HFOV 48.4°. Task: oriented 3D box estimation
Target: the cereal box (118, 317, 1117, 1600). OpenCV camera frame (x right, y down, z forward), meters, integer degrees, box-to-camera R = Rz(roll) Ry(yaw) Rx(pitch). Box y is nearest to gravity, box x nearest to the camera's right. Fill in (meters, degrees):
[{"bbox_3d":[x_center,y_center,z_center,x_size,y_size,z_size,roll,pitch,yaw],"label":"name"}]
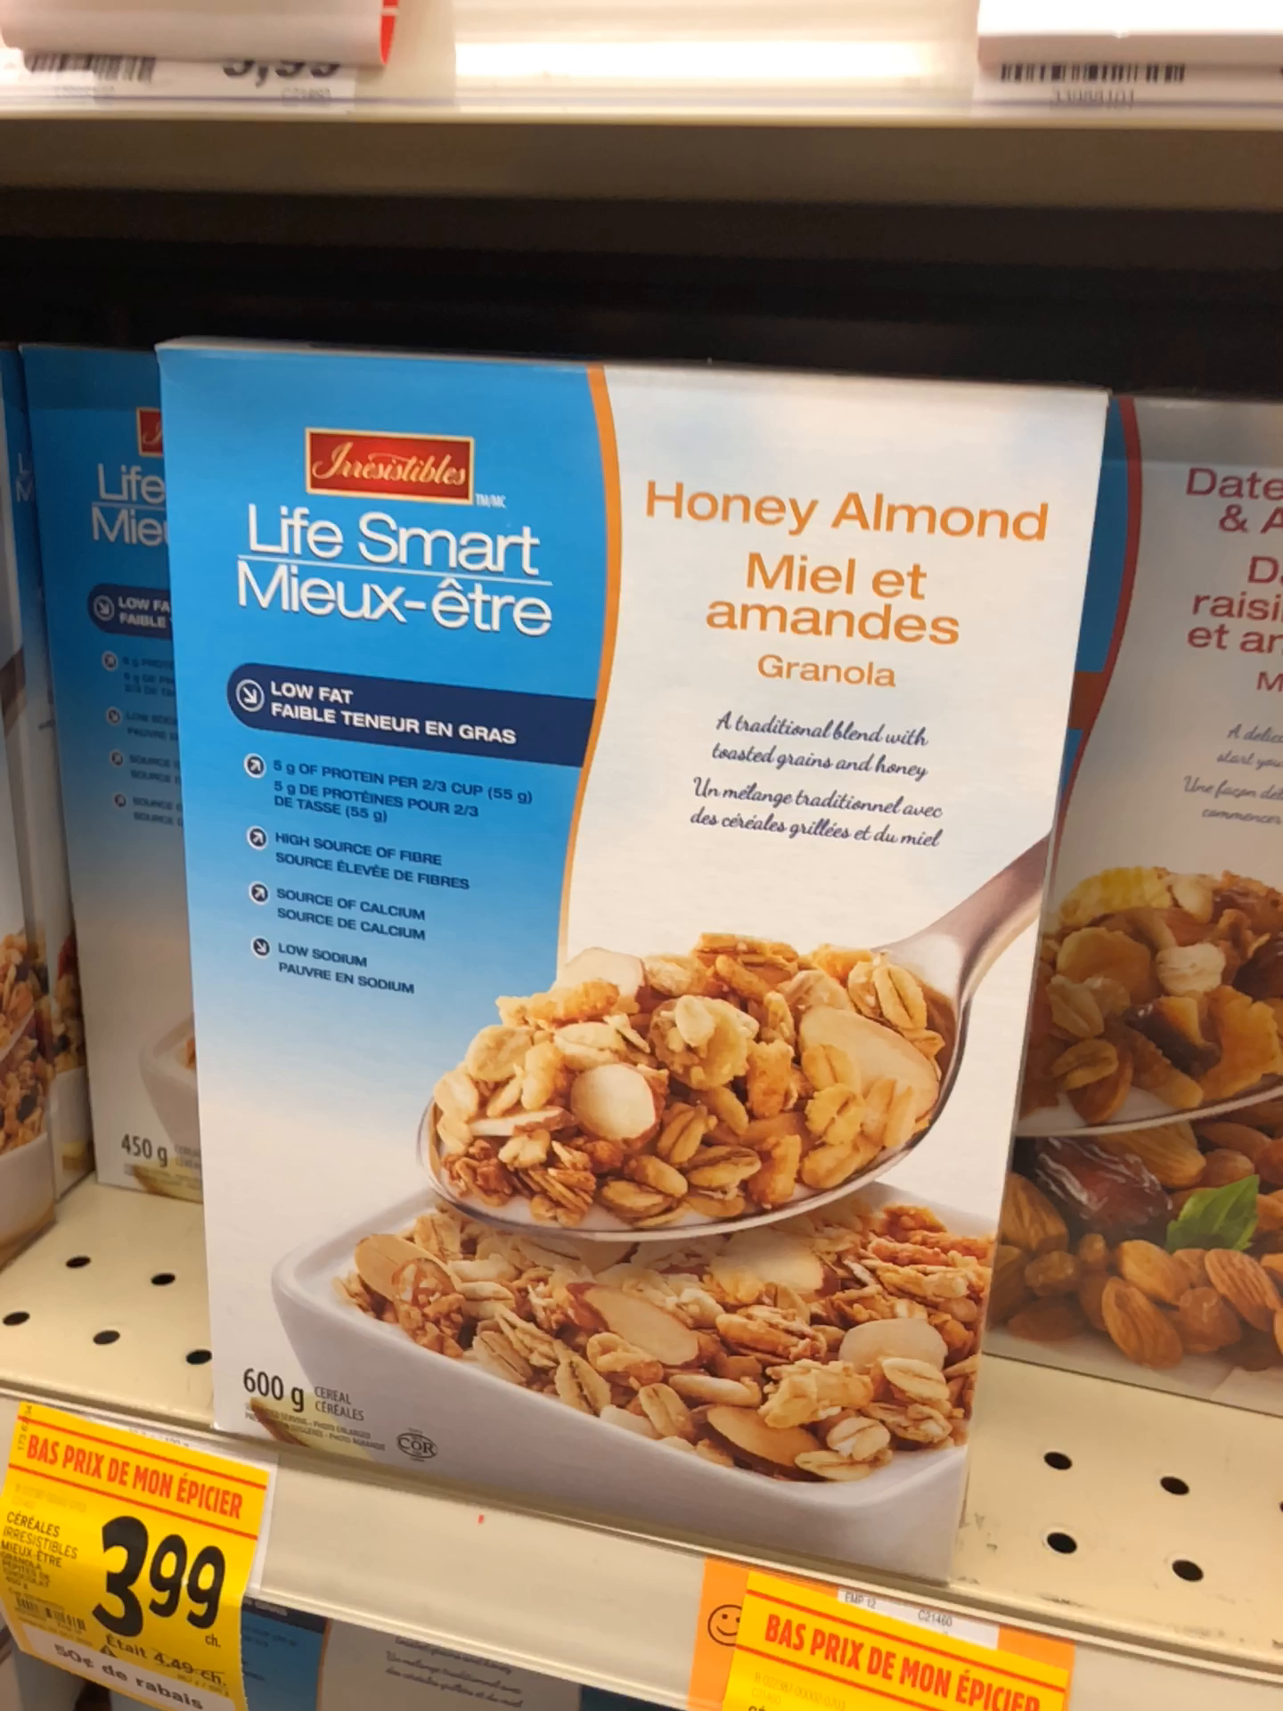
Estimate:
[{"bbox_3d":[-0.008,0.019,0.300,0.170,0.239,0.060,7,19,13],"label":"cereal box"}]
